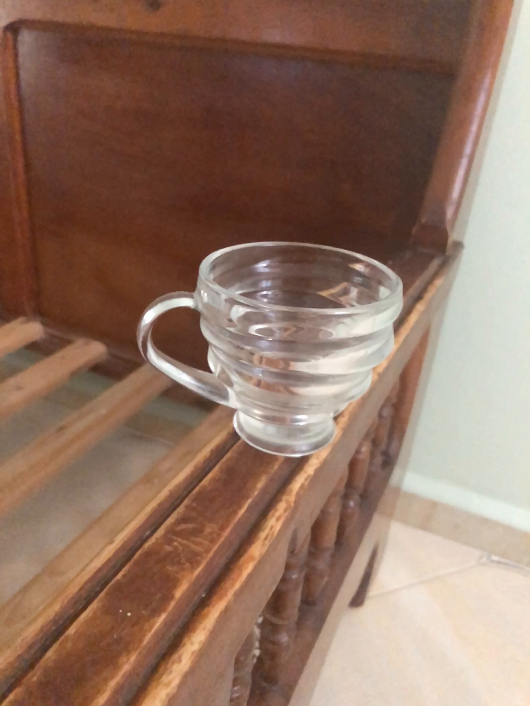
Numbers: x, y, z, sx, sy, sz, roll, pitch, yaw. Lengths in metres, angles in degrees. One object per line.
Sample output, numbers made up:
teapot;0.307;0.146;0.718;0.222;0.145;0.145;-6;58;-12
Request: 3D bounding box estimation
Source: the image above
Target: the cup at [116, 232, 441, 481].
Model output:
cup;0.003;-0.002;0.240;0.105;0.065;0.076;4;27;-1
